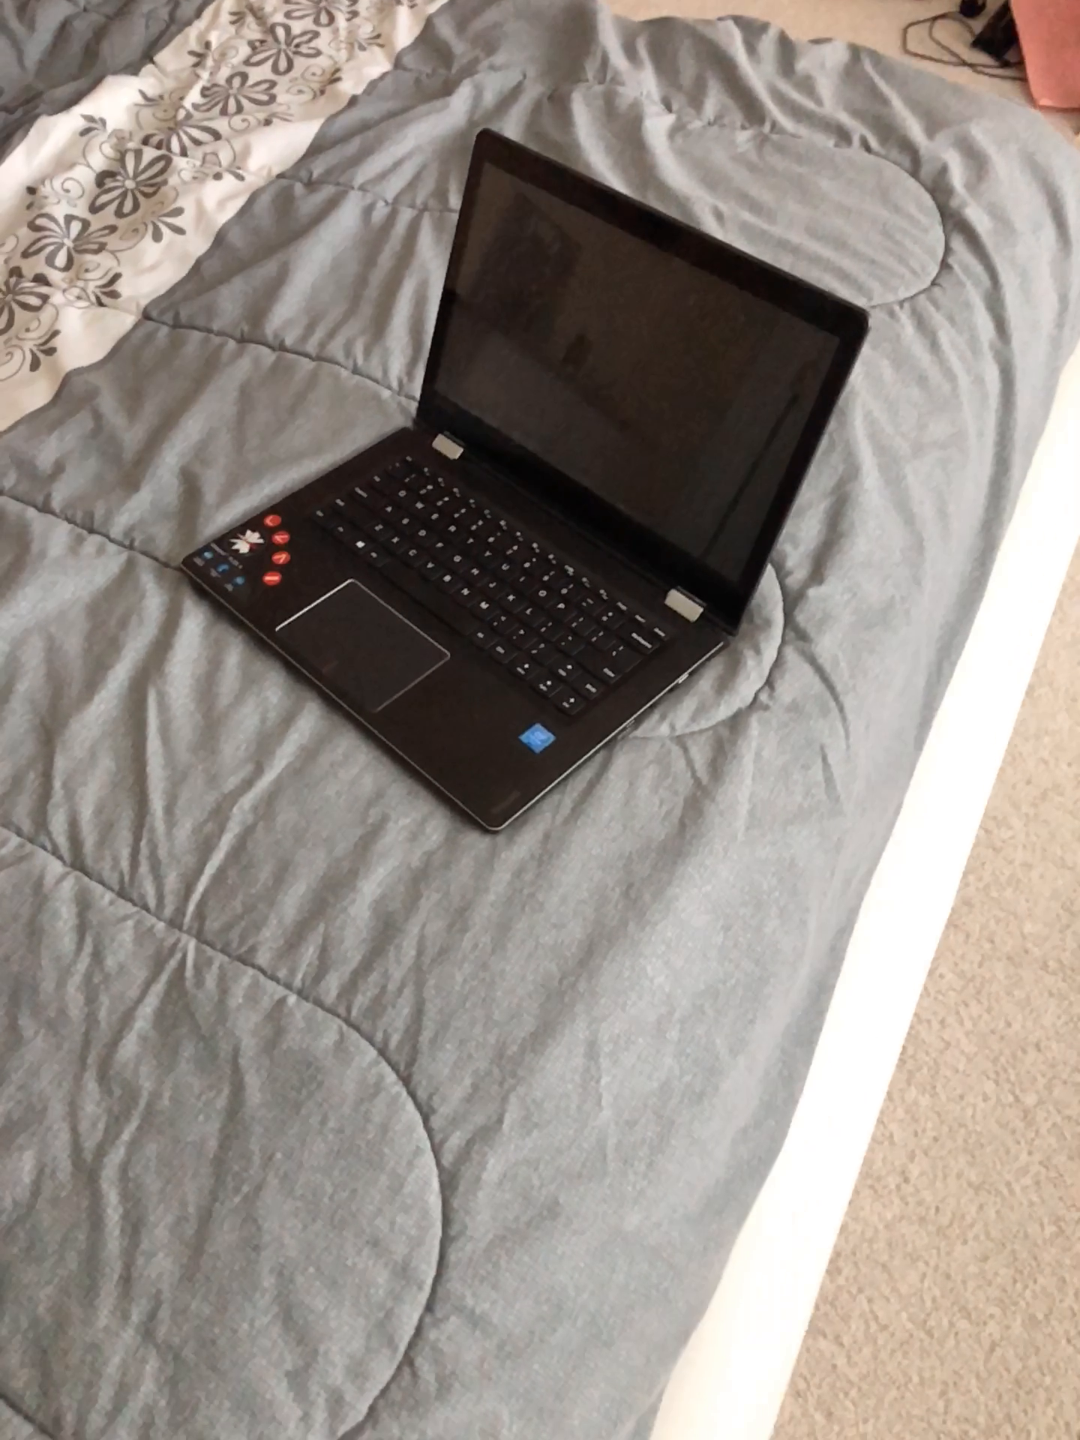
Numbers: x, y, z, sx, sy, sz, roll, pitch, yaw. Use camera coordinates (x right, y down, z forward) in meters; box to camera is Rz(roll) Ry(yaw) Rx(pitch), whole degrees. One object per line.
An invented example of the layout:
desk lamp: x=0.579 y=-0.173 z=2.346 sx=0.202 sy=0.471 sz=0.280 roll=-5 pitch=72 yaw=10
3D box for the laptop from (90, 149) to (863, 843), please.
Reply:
laptop: x=-0.035 y=-0.180 z=0.861 sx=0.362 sy=0.214 sz=0.352 roll=38 pitch=63 yaw=25
